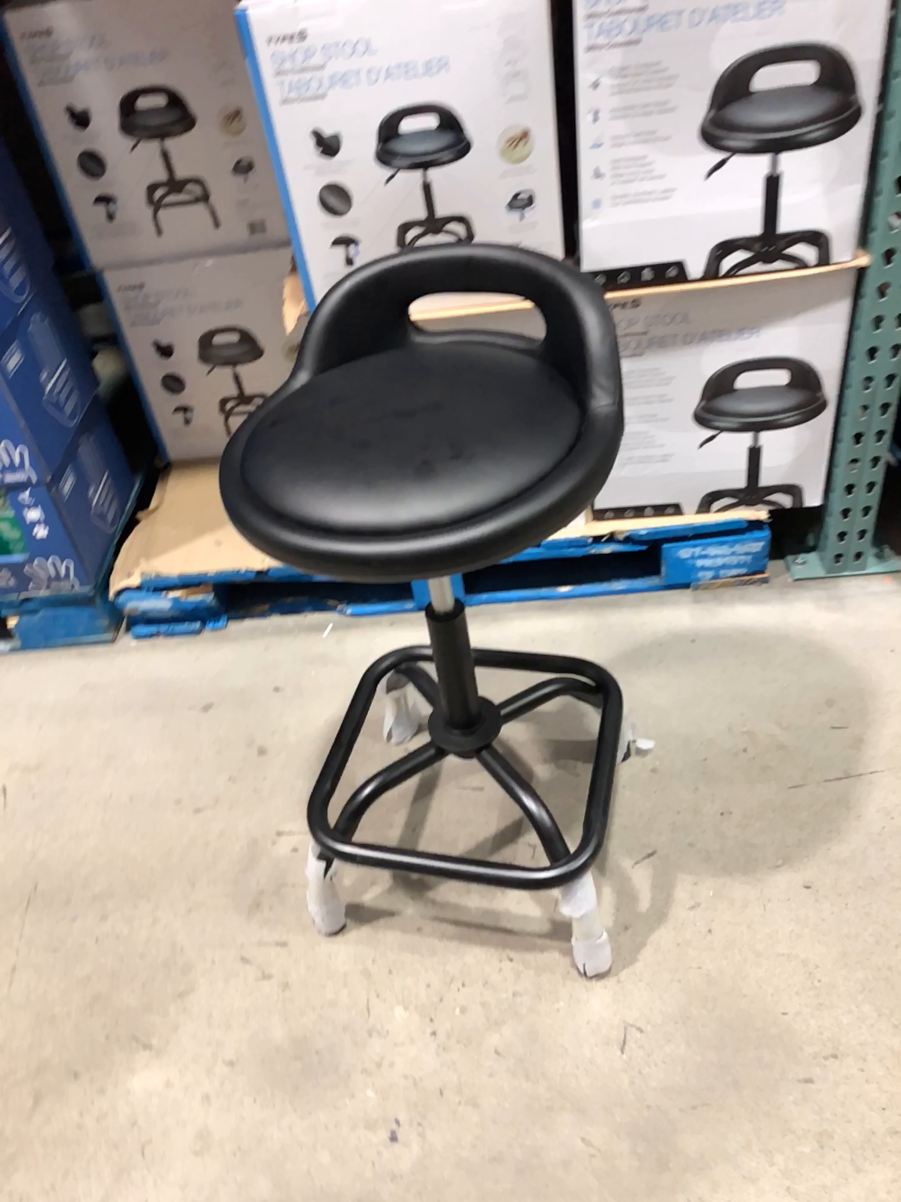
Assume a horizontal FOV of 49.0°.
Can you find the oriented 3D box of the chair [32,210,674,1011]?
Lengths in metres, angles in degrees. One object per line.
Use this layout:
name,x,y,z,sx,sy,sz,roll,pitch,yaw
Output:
chair,-0.006,0.017,1.174,0.480,0.747,0.512,4,41,15
